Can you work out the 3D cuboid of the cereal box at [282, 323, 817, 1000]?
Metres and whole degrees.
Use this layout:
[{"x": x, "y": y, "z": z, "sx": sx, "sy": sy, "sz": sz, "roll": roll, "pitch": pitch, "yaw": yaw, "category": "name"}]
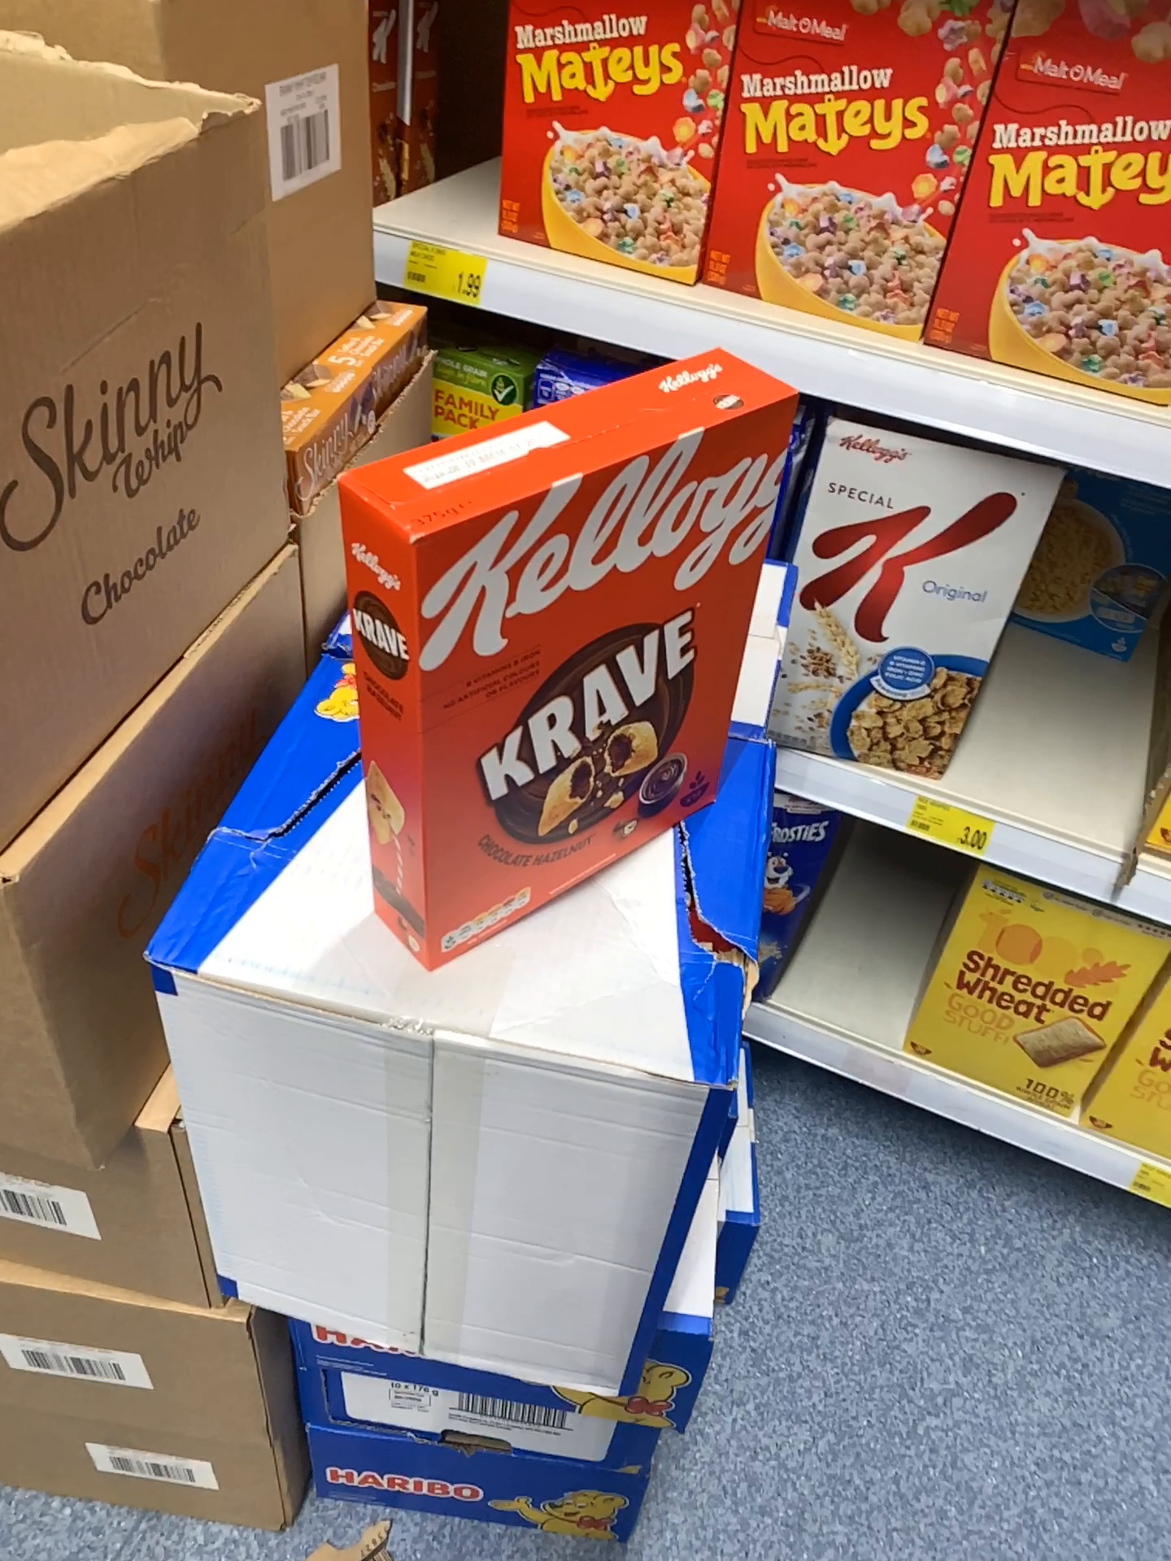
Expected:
[{"x": -0.015, "y": -0.047, "z": 0.511, "sx": 0.201, "sy": 0.238, "sz": 0.060, "roll": -28, "pitch": 54, "yaw": -31, "category": "cereal box"}]
